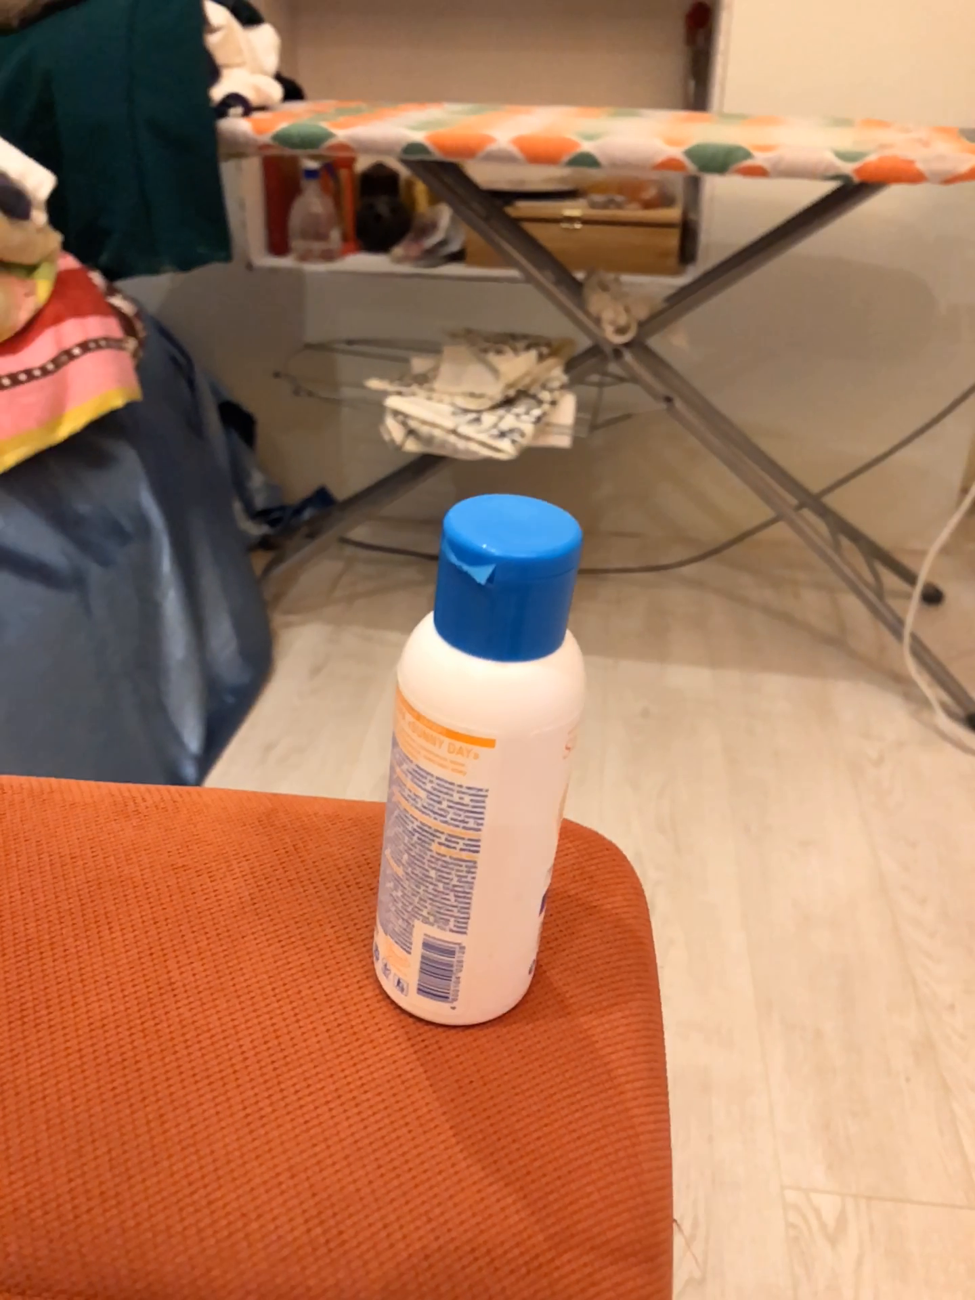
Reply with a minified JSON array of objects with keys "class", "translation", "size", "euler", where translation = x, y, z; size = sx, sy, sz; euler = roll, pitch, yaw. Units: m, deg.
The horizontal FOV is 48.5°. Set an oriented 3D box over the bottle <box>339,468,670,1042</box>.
[{"class":"bottle","translation":[-0.002,0.023,0.233],"size":[0.043,0.112,0.047],"euler":[7,27,-3]}]
